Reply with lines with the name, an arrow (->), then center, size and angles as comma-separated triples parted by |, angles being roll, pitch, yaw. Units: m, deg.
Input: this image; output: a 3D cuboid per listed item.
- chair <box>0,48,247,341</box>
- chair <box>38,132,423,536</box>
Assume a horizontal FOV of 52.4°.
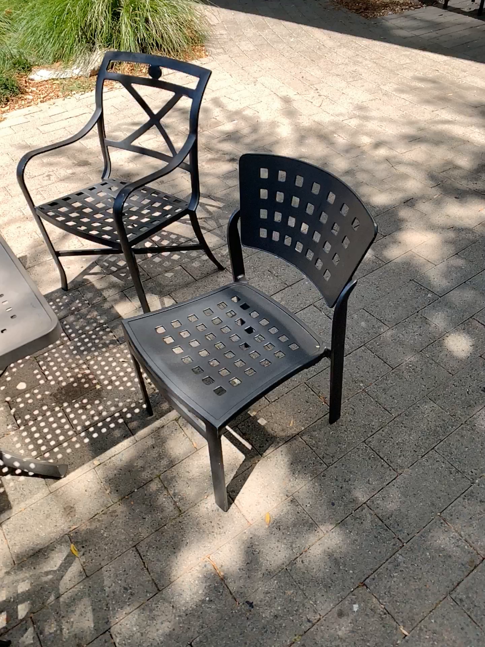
chair -> -0.433, -0.514, 1.899 | 0.622, 0.756, 0.652 | 23, 50, 24
chair -> -0.026, 0.000, 1.390 | 0.651, 0.706, 0.623 | -32, 51, -26
